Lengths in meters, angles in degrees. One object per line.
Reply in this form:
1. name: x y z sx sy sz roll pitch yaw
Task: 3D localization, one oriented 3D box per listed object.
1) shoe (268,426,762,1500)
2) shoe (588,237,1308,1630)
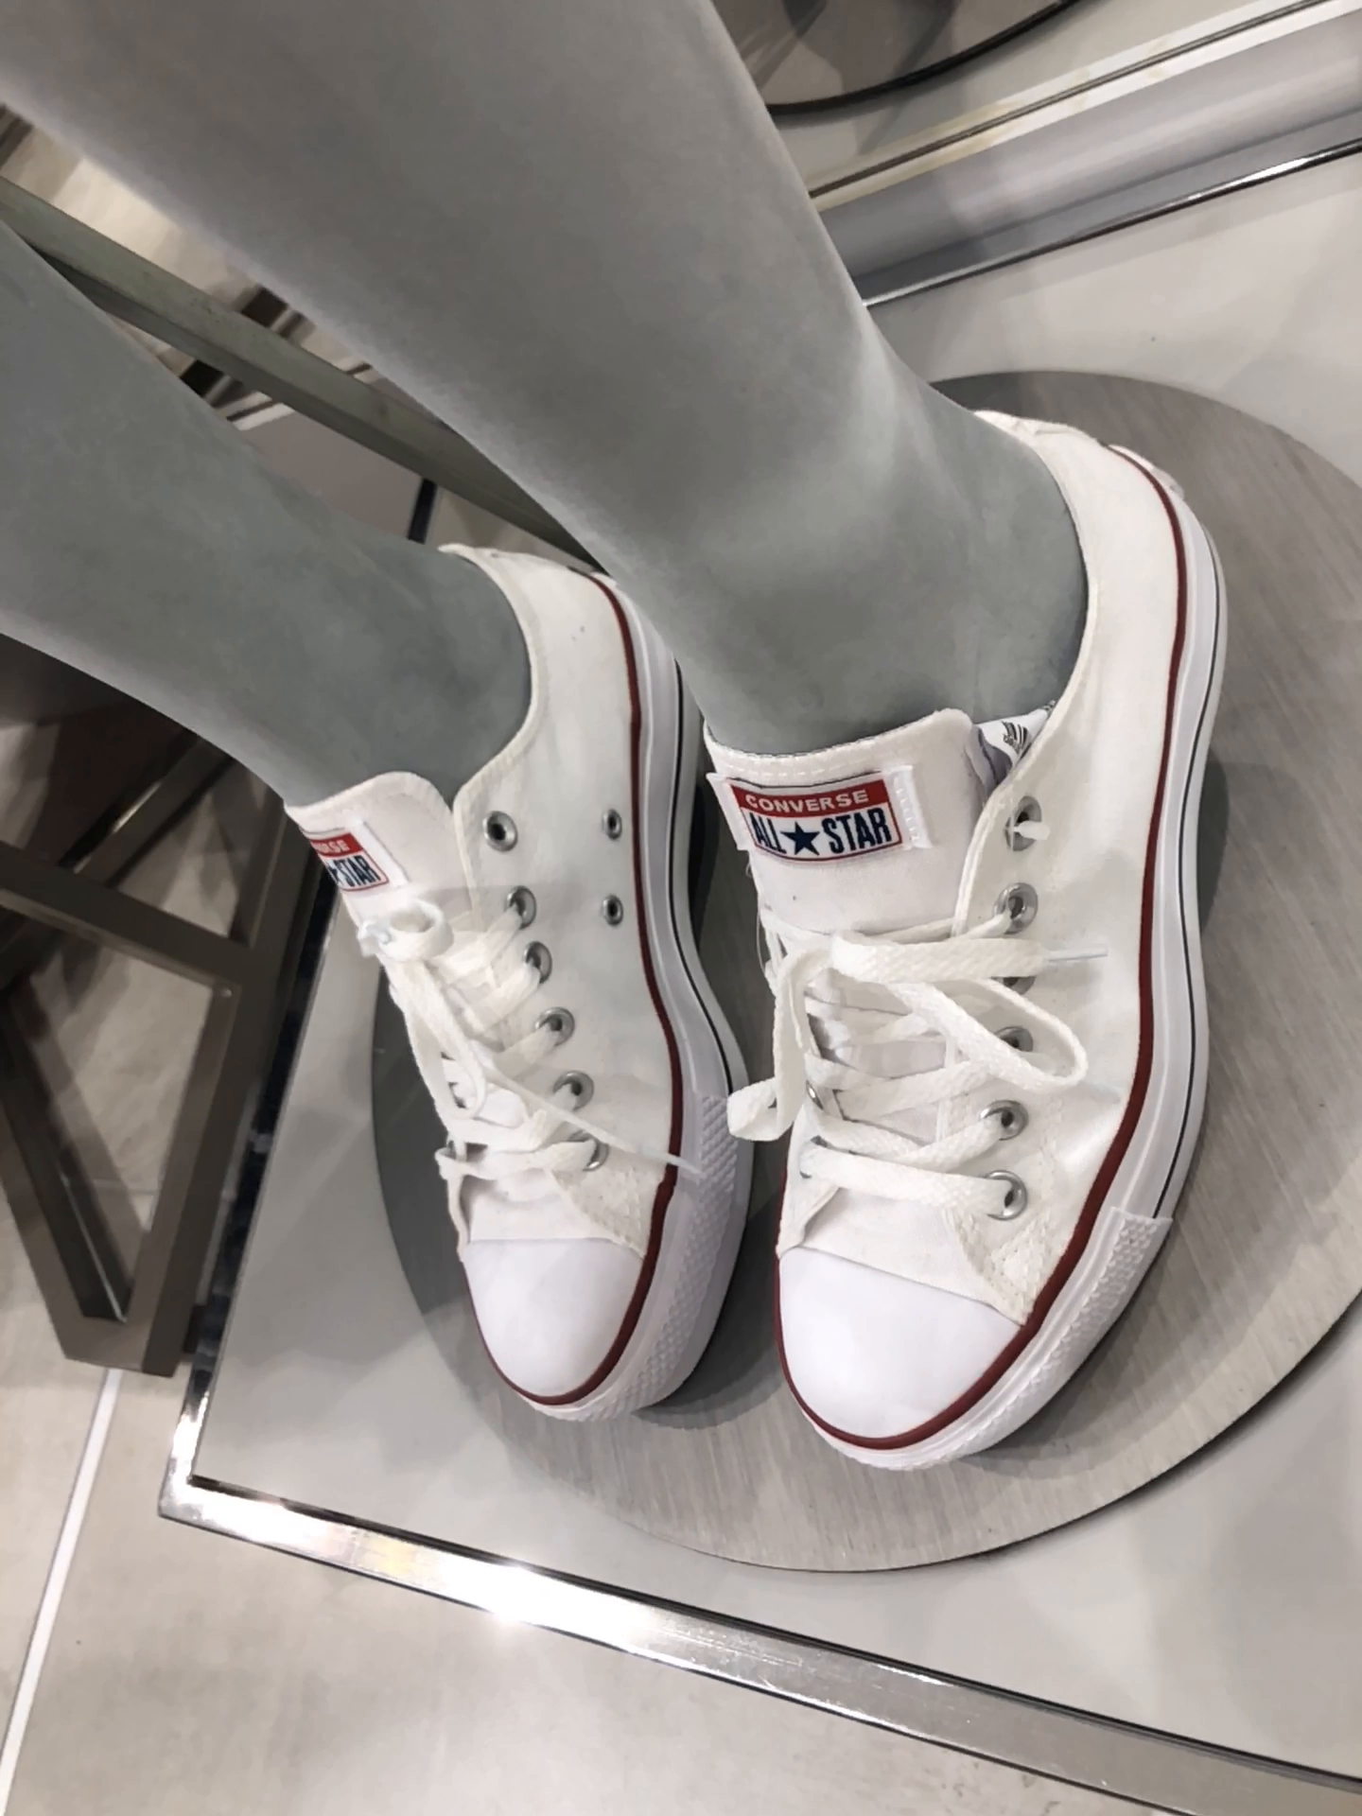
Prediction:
1. shoe: -0.051 0.017 0.441 0.100 0.090 0.270 -10 78 34
2. shoe: 0.067 0.003 0.371 0.110 0.090 0.280 6 88 39
